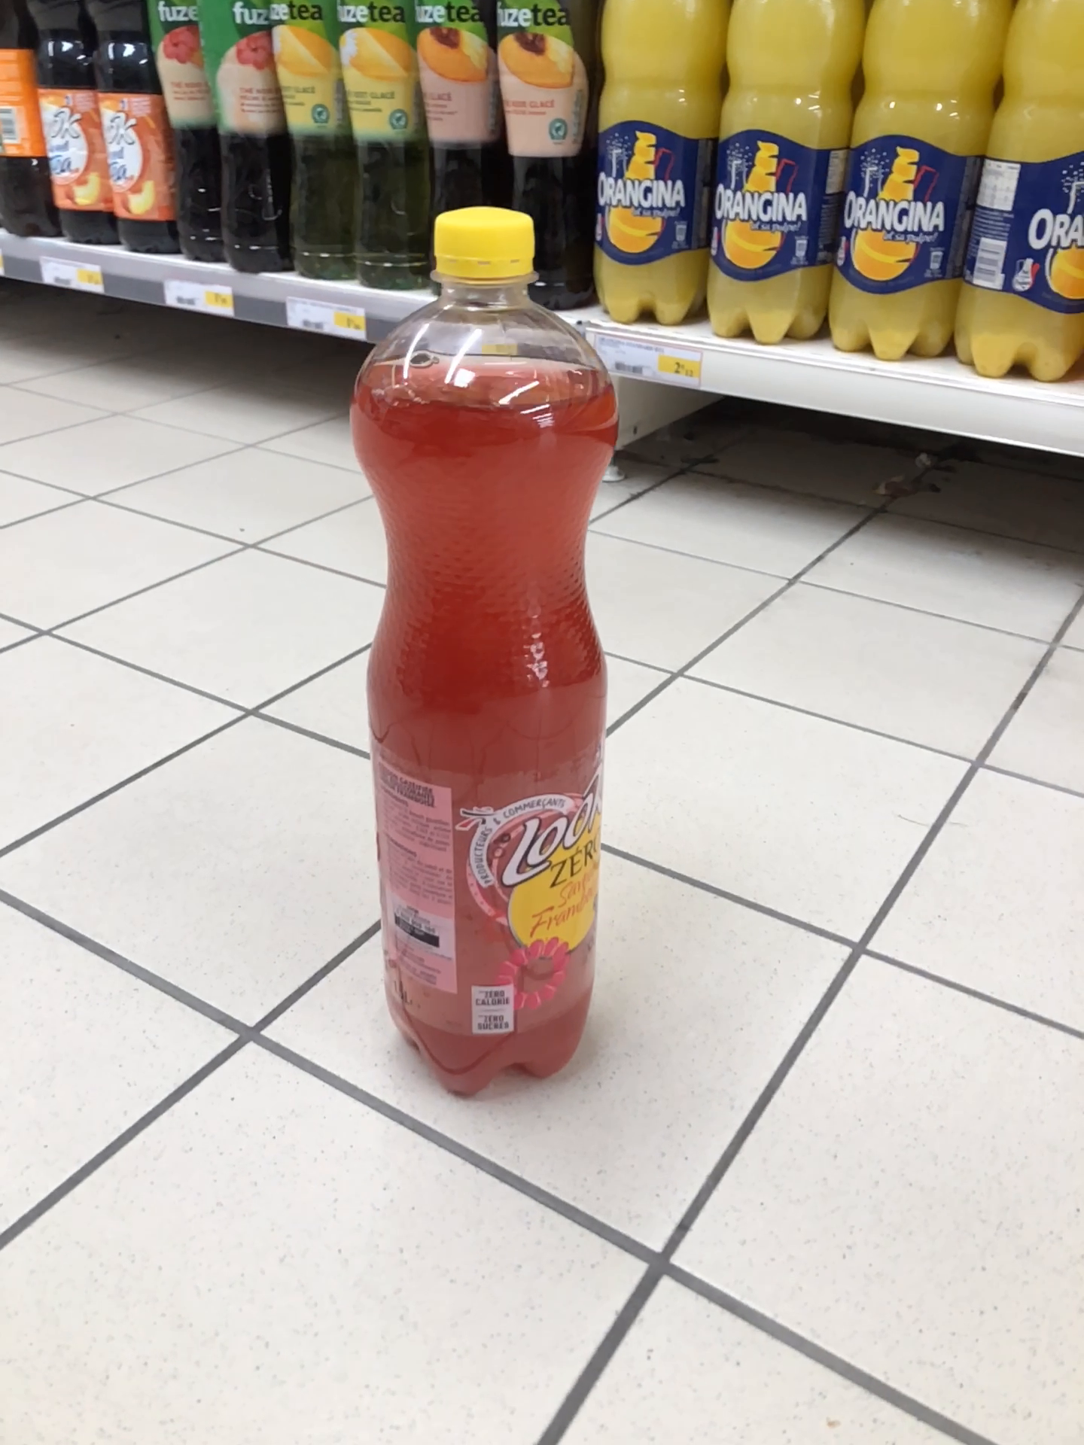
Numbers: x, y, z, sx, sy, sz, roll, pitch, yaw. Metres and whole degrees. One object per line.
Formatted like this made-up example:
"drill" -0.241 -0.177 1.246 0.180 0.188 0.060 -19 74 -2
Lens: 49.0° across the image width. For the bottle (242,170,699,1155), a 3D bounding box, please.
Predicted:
"bottle" -0.024 -0.013 0.429 0.101 0.328 0.090 -22 36 -36
